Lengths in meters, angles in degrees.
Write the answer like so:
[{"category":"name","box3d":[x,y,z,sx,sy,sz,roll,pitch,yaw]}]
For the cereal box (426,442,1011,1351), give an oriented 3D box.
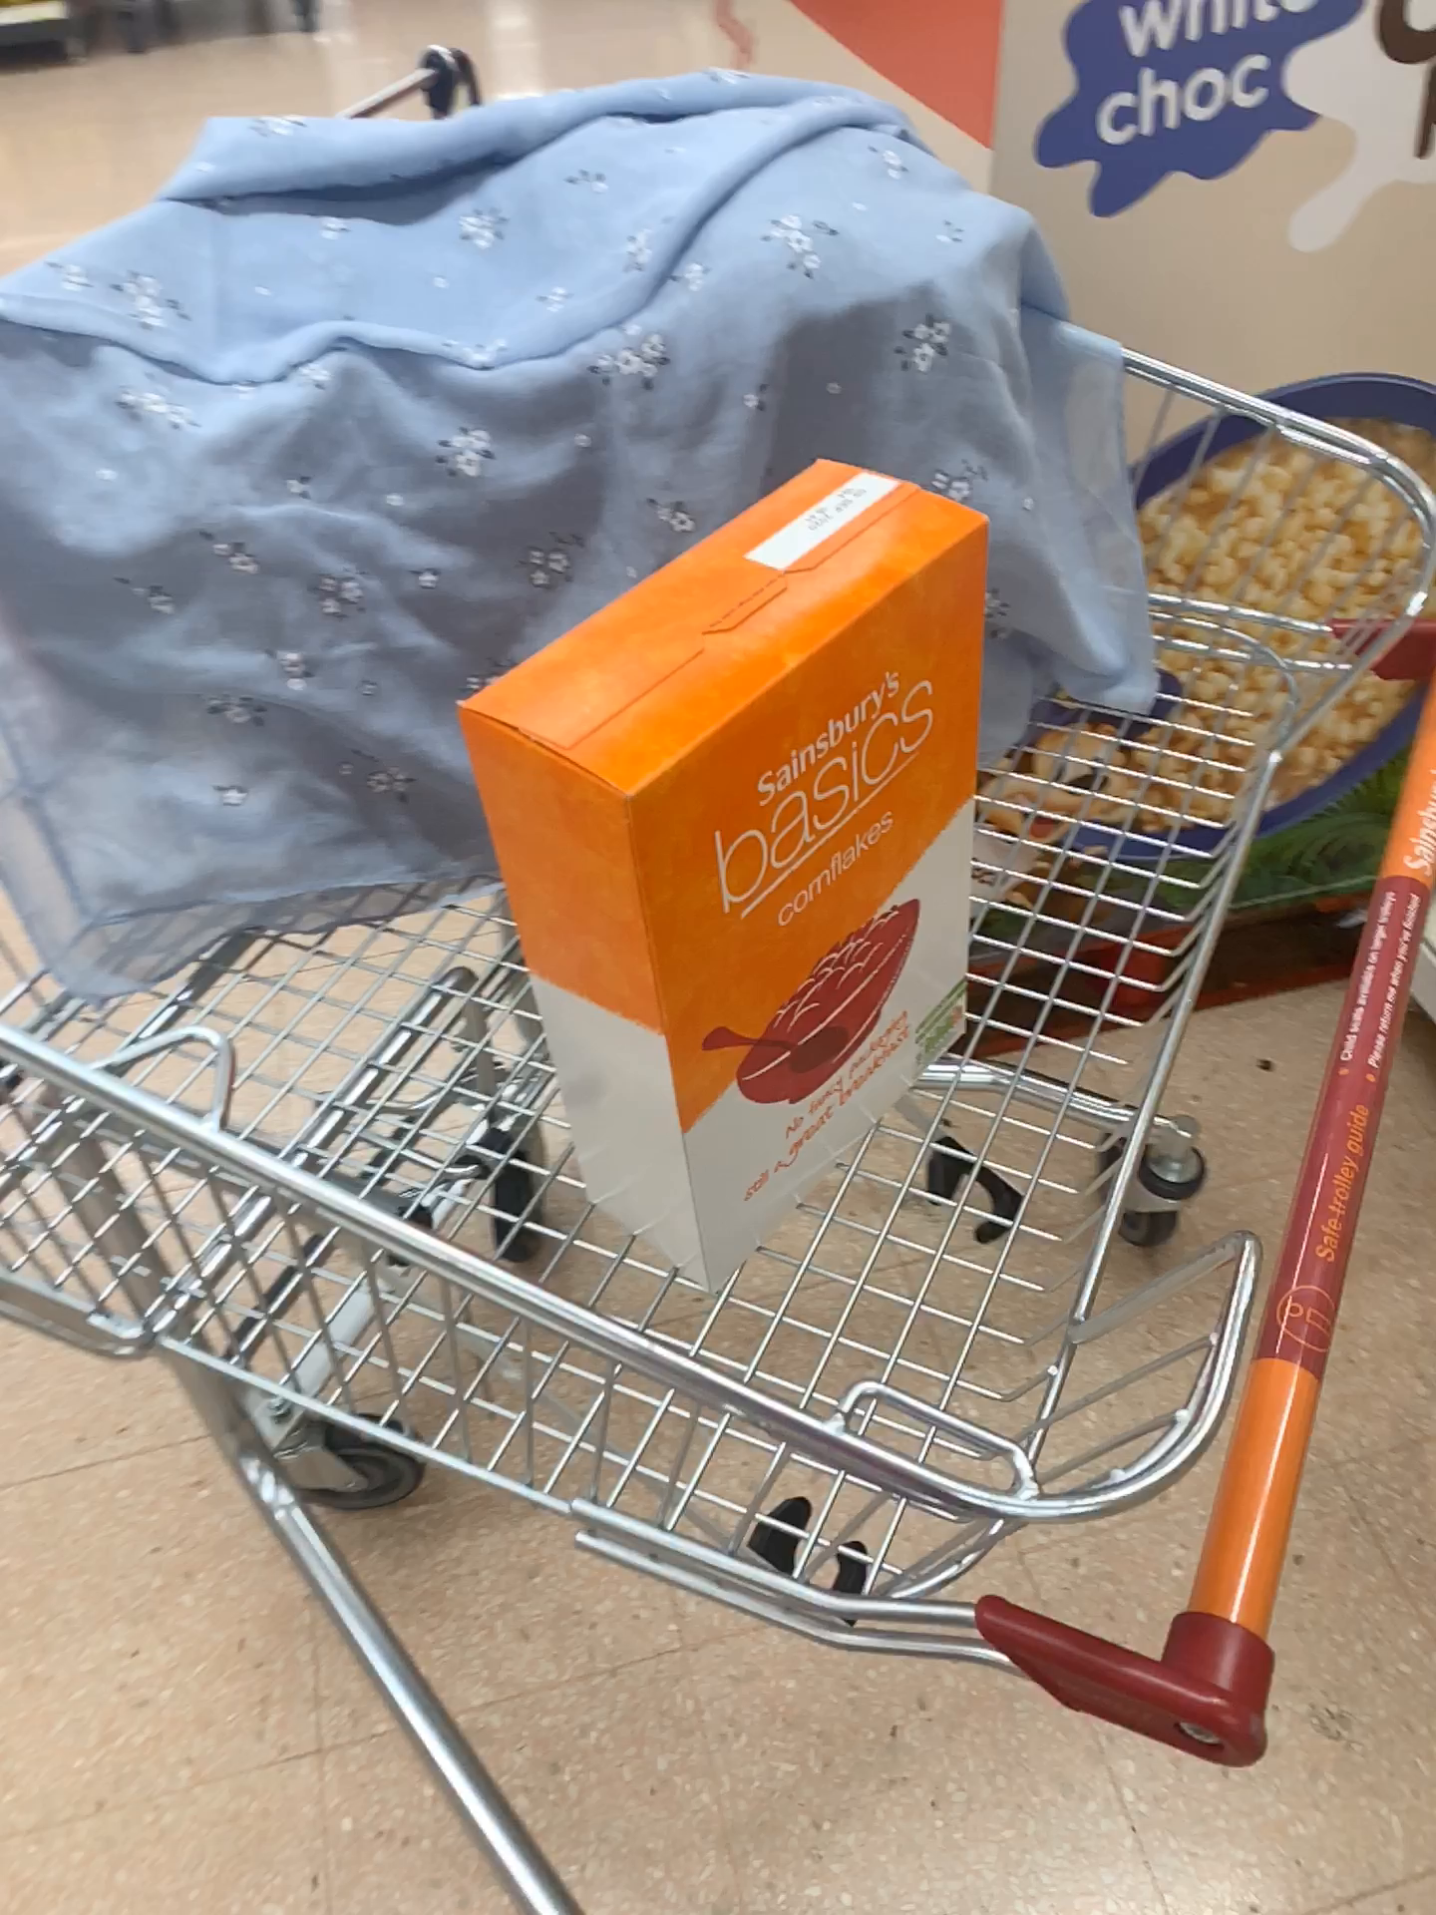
[{"category":"cereal box","box3d":[0.022,-0.014,0.602,0.080,0.307,0.211,29,55,31]}]
